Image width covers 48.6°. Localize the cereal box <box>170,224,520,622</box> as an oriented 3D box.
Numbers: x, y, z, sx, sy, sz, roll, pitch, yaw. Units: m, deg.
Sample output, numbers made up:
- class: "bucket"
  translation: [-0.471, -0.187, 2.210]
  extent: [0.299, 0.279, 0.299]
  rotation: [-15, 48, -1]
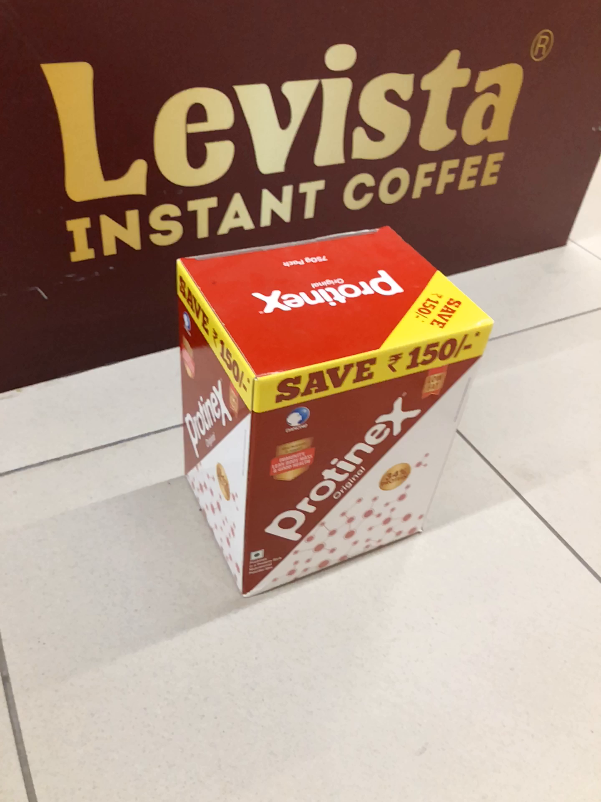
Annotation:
- class: "cereal box"
  translation: [0.014, 0.013, 0.439]
  extent: [0.161, 0.199, 0.120]
  rotation: [-15, 45, -23]
